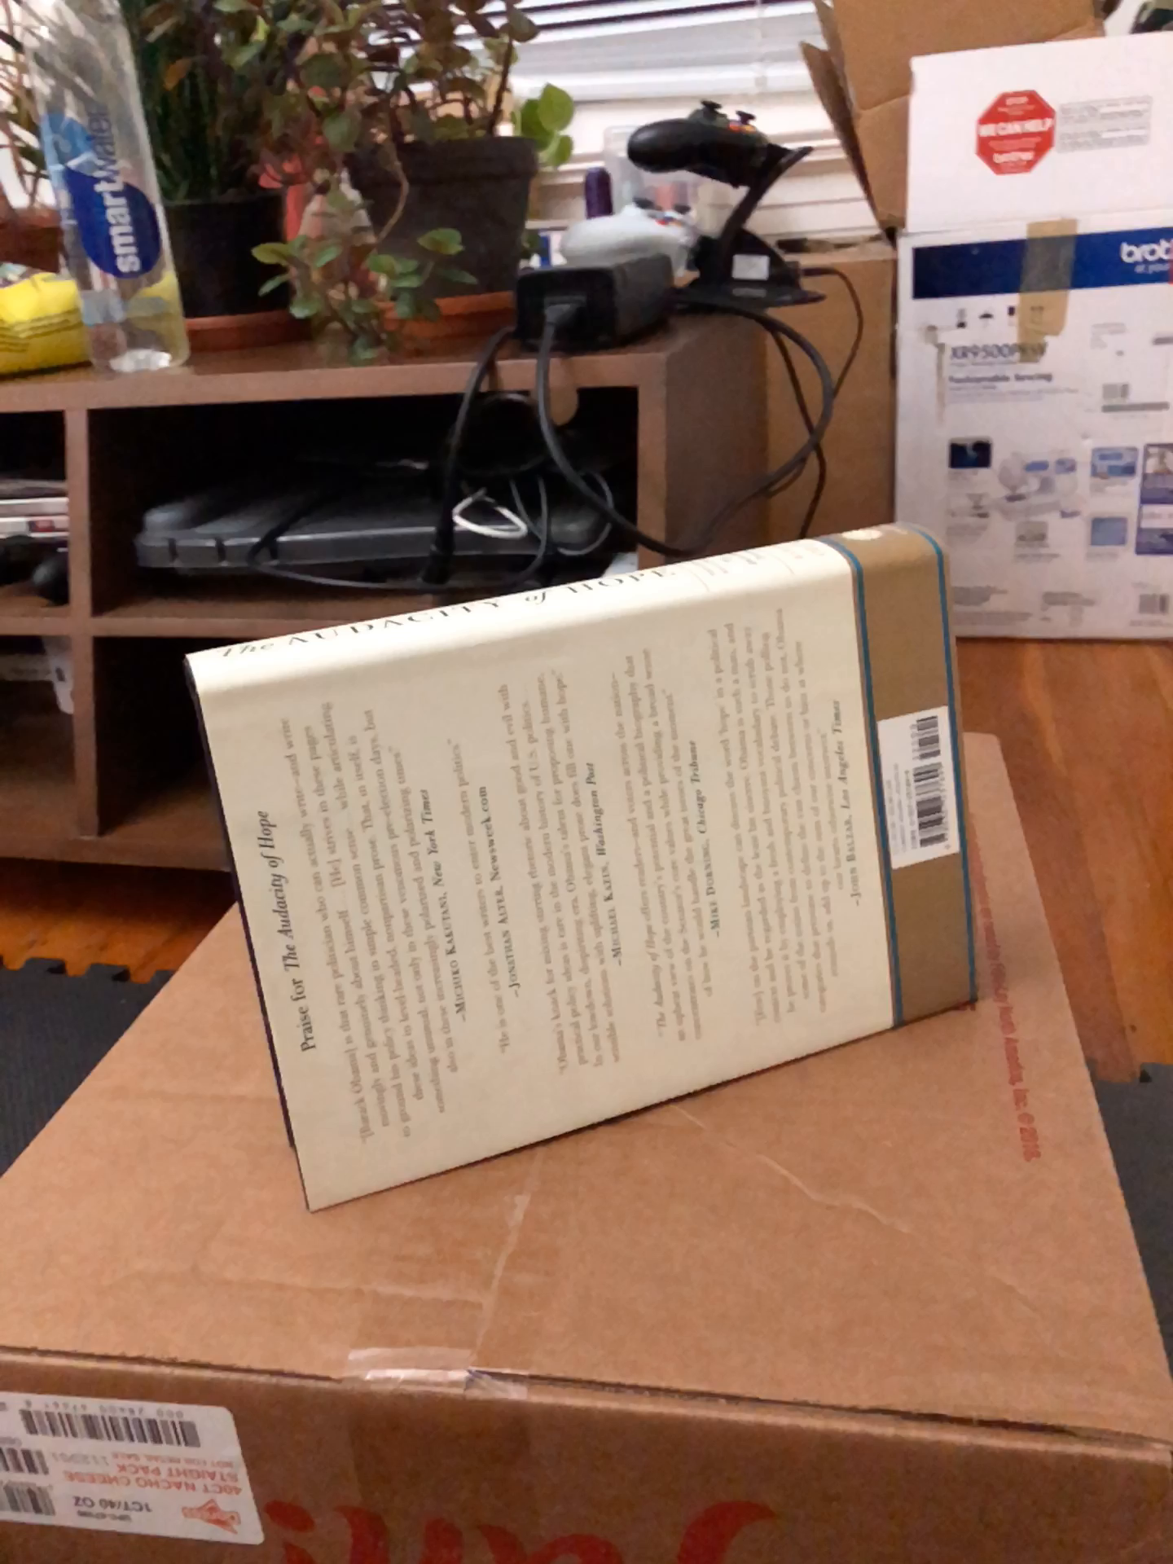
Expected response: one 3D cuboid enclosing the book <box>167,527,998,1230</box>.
[{"bbox_3d":[0.009,0.019,0.428,0.250,0.169,0.060,-12,13,-19],"label":"book"}]
